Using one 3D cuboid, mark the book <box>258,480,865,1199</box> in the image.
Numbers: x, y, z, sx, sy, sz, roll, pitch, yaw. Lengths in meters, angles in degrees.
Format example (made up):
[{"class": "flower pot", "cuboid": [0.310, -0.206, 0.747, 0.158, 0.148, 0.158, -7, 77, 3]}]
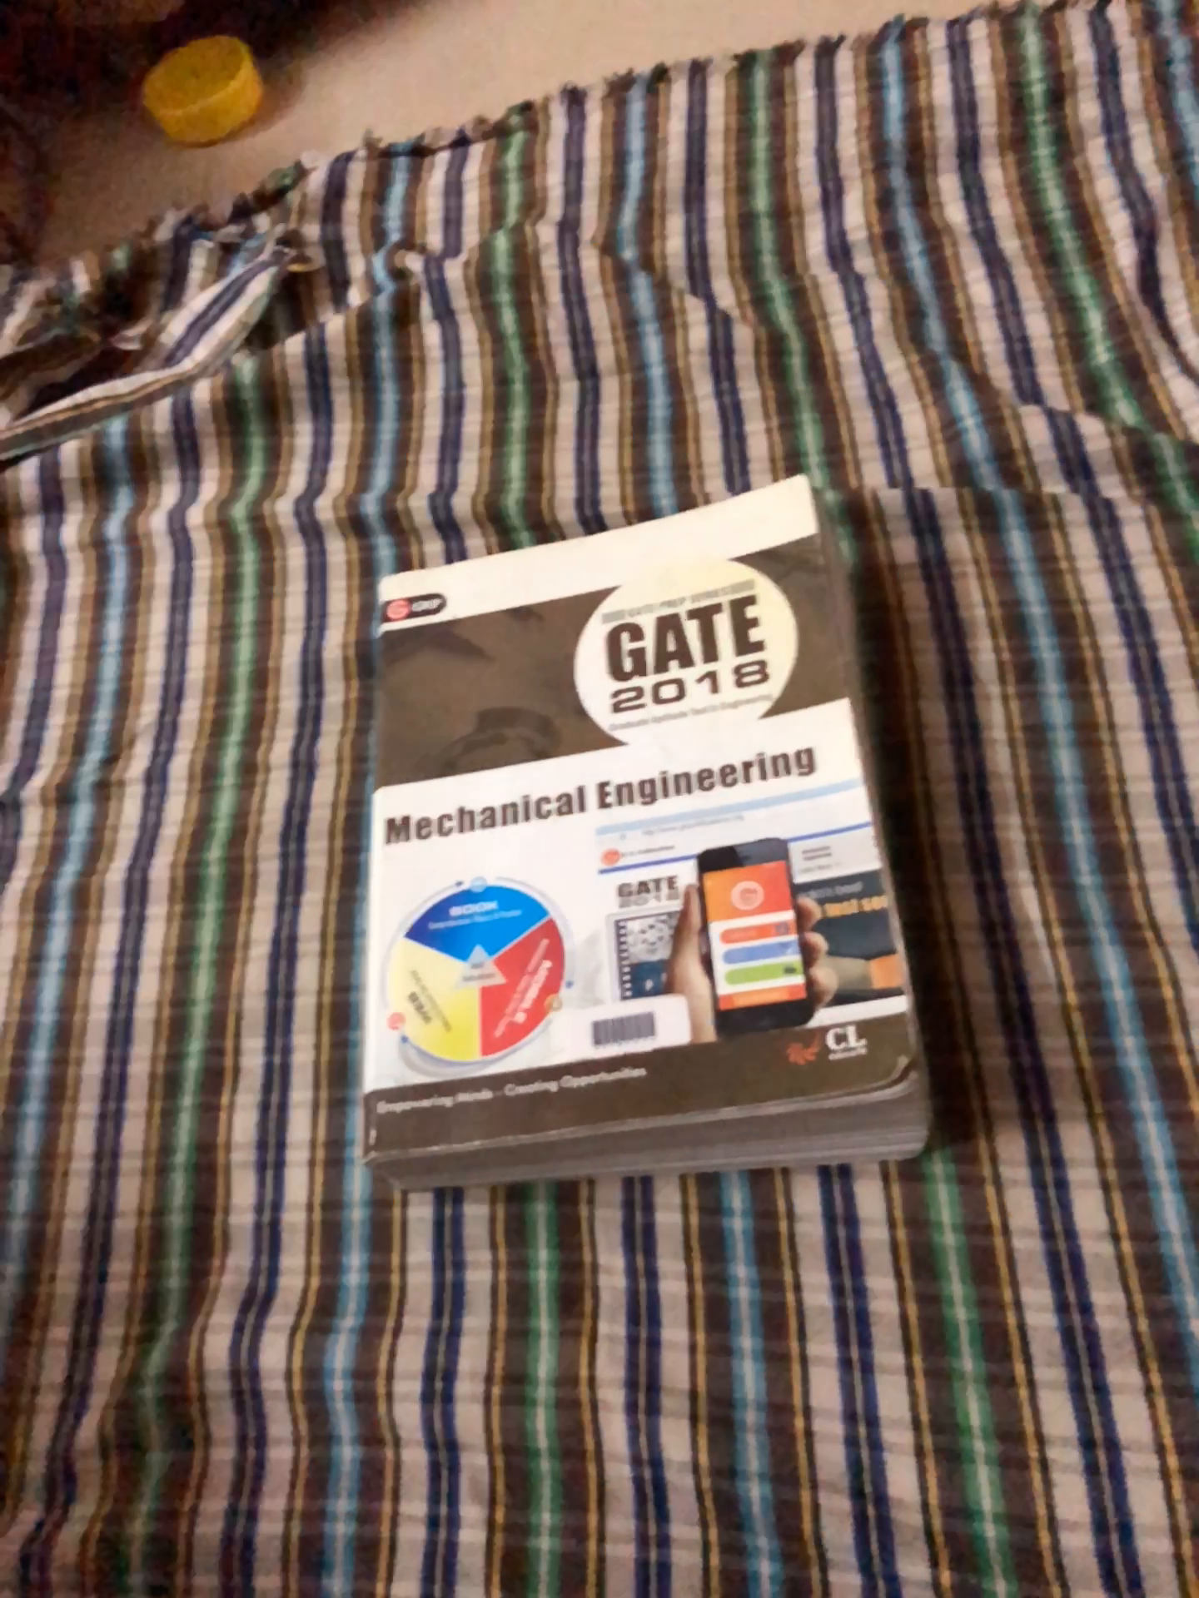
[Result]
[{"class": "book", "cuboid": [-0.017, 0.013, 0.554, 0.210, 0.076, 0.265, -9, 60, 10]}]
